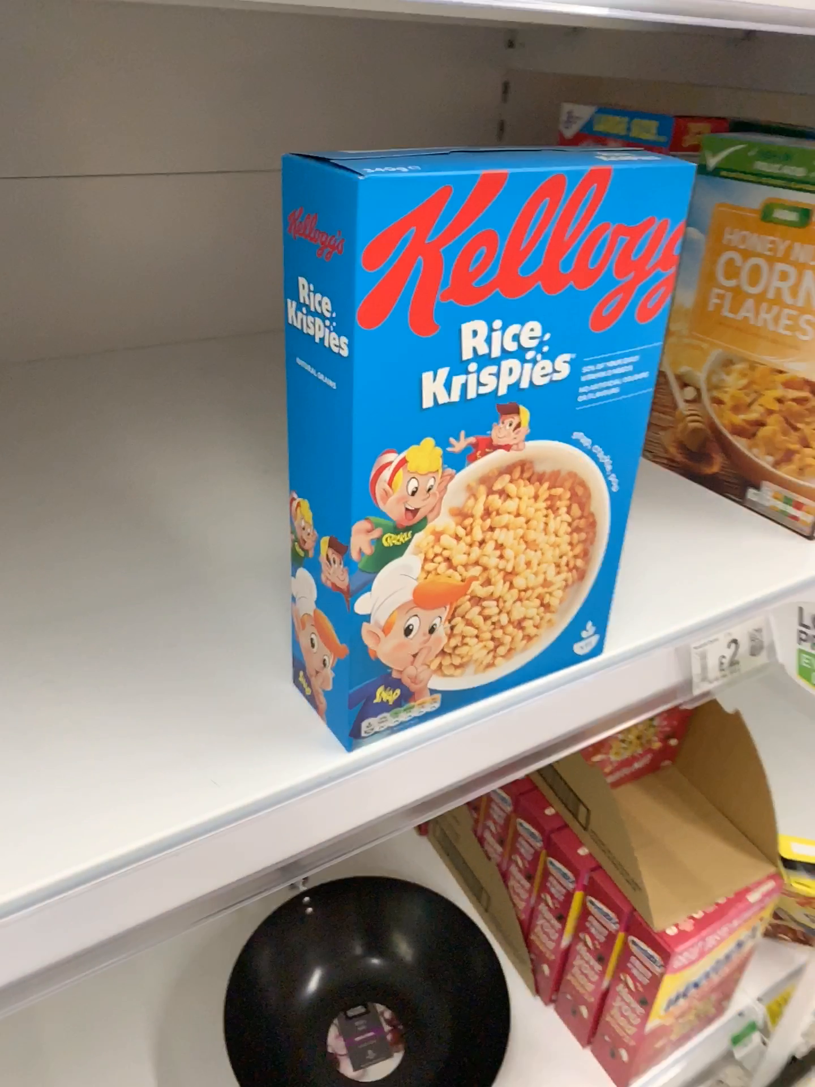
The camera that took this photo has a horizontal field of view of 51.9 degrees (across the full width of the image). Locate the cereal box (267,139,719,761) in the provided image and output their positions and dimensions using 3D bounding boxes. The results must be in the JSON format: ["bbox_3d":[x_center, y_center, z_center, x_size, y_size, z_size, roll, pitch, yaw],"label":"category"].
[{"bbox_3d":[0.036,-0.050,0.451,0.201,0.297,0.070,-15,35,-28],"label":"cereal box"}]
